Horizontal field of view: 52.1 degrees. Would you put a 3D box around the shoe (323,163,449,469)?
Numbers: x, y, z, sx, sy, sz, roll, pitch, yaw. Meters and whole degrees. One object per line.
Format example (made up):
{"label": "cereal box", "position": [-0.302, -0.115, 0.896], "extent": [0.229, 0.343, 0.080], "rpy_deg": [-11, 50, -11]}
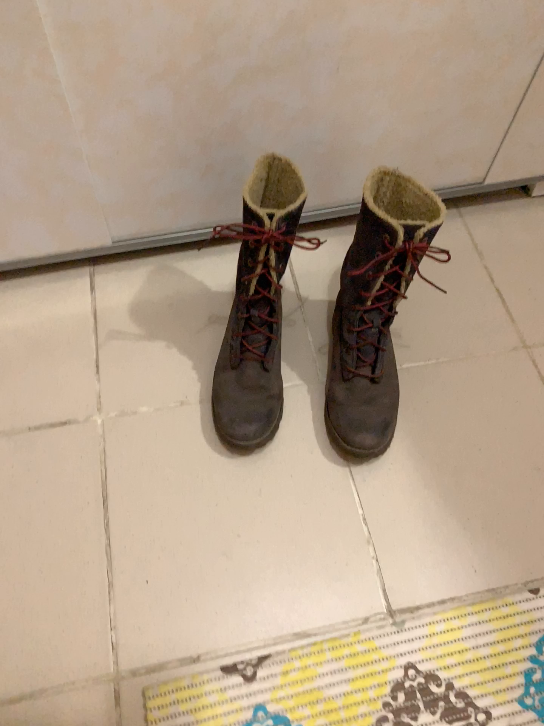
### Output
{"label": "shoe", "position": [0.119, -0.045, 0.676], "extent": [0.100, 0.249, 0.281], "rpy_deg": [1, 63, 3]}

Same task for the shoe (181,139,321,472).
{"label": "shoe", "position": [-0.024, -0.055, 0.646], "extent": [0.100, 0.249, 0.281], "rpy_deg": [8, 60, -2]}
